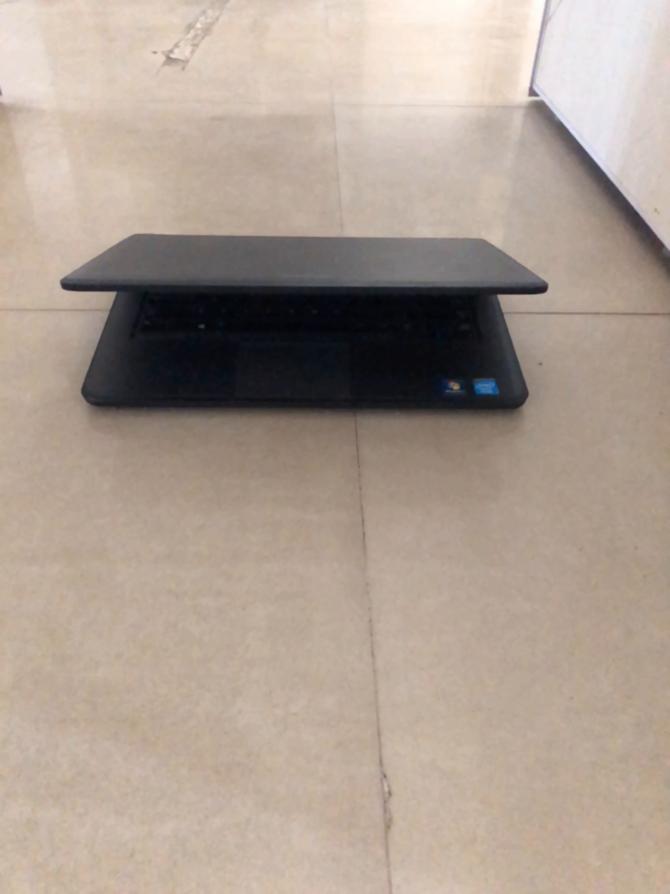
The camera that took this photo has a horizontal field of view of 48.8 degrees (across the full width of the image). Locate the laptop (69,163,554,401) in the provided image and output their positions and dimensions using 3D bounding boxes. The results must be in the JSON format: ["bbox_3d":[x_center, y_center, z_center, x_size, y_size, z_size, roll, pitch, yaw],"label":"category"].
[{"bbox_3d":[-0.014,-0.138,0.576,0.314,0.064,0.222,1,46,0],"label":"laptop"}]
